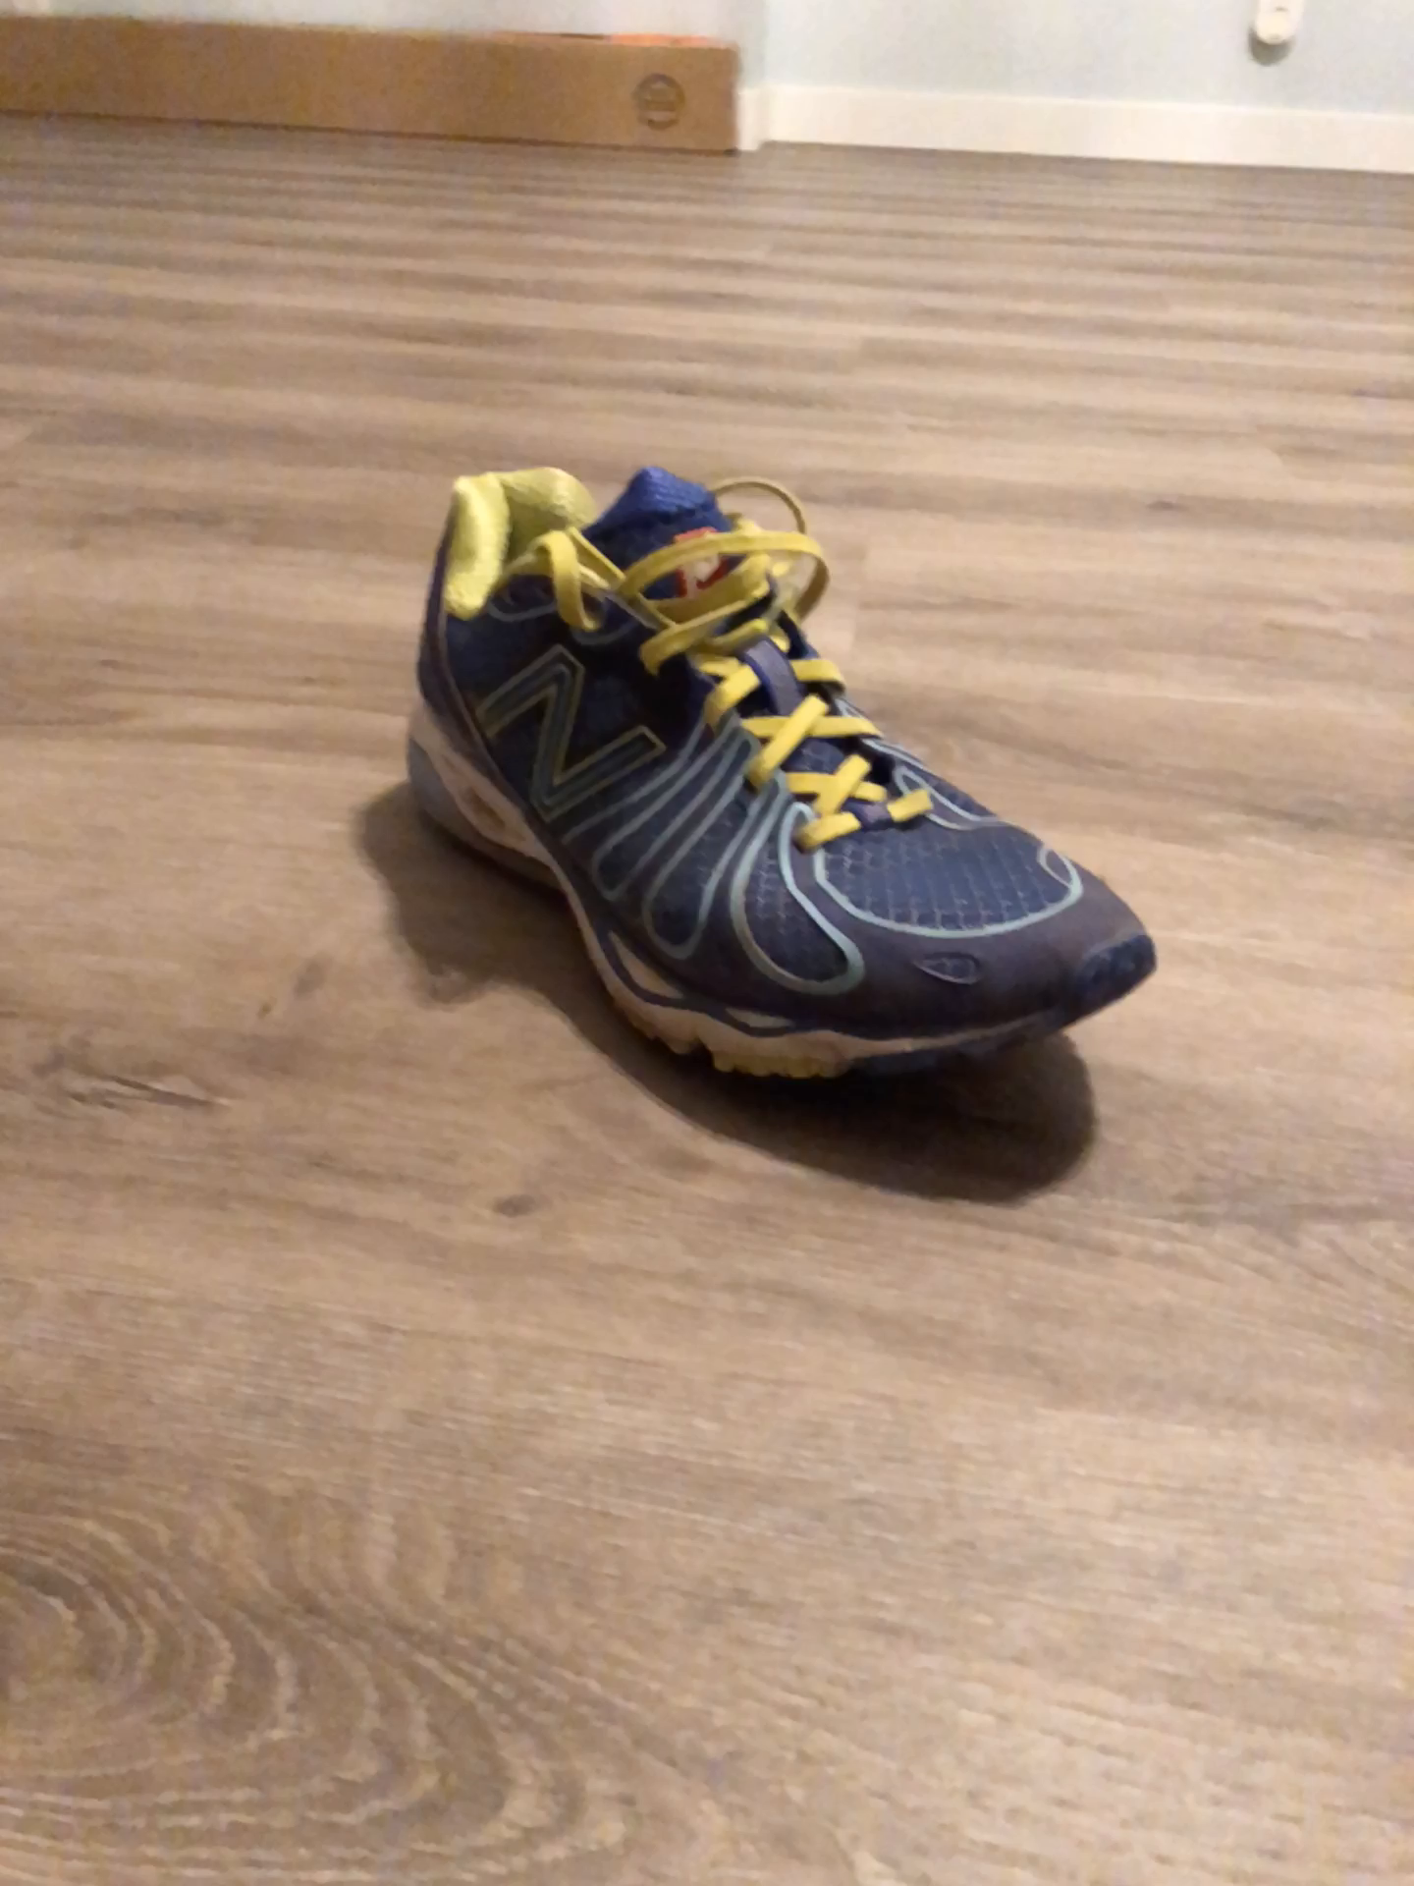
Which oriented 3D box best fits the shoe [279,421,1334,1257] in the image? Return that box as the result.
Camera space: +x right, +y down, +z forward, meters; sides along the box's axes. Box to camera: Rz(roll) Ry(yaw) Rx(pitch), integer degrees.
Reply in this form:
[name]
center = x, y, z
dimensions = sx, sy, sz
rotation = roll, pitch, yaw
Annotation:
[shoe]
center = 0.004, -0.050, 0.395
dimensions = 0.110, 0.099, 0.251
rotation = -21, 37, -34
